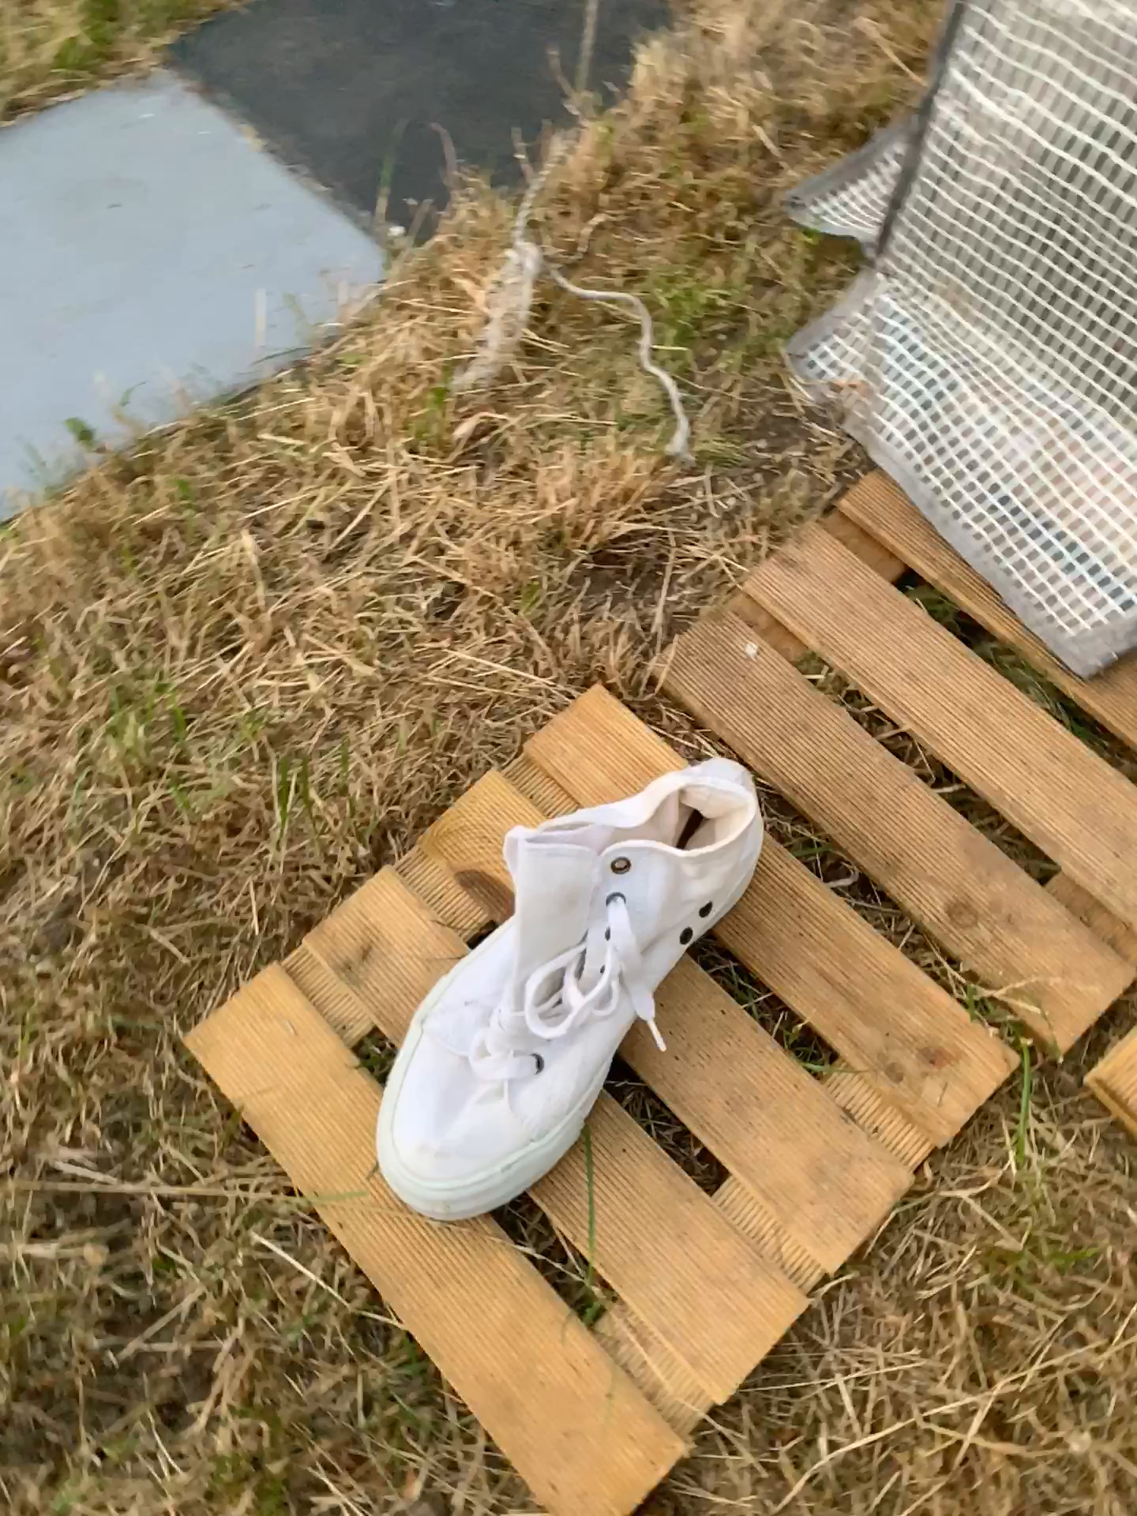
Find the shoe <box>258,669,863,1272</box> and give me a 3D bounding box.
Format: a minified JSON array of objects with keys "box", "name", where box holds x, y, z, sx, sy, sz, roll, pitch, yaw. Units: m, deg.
[{"box":[0.003,0.095,0.537,0.261,0.109,0.100,-41,69,-21],"name":"shoe"}]
